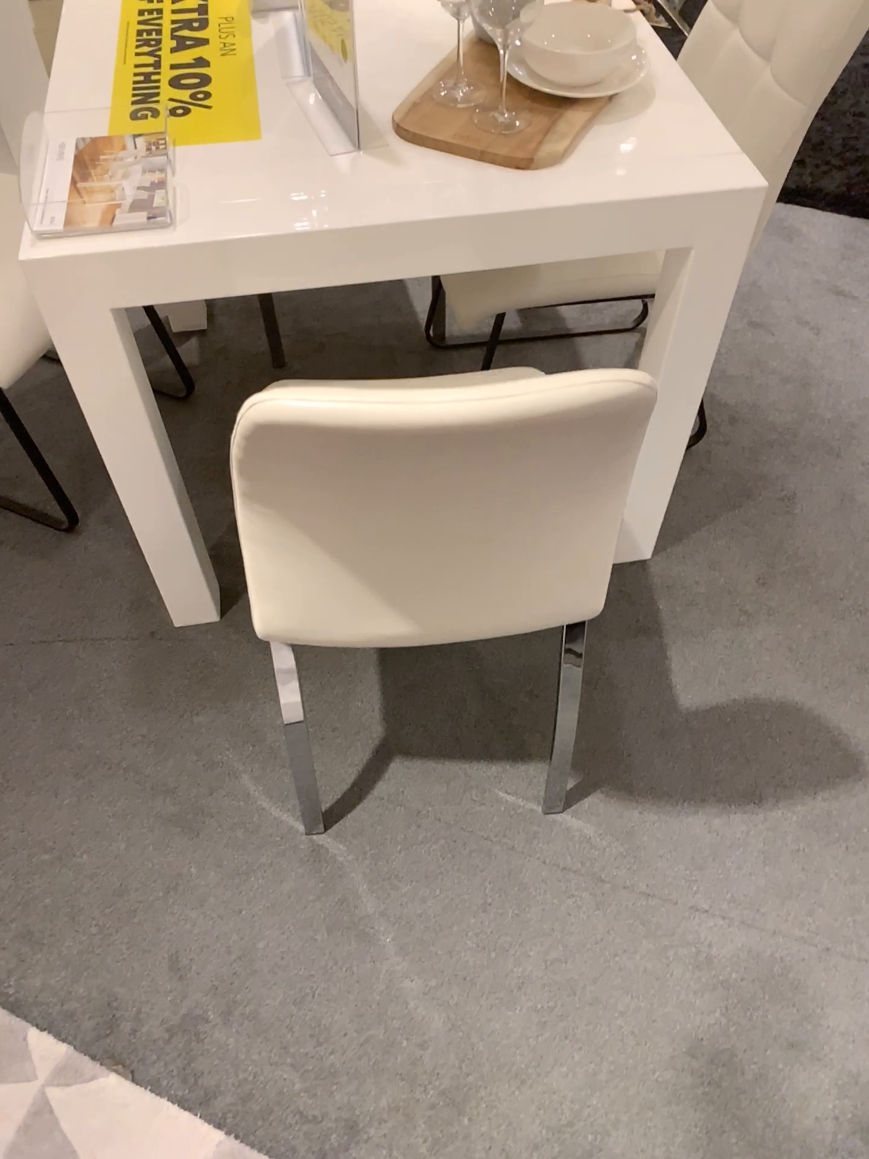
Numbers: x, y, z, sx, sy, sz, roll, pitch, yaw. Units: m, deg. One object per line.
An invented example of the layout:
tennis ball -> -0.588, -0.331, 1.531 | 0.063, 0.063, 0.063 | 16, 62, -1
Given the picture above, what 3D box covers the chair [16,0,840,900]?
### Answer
chair -> -0.022, -0.095, 1.090 | 0.479, 0.956, 0.649 | -3, 54, -2
